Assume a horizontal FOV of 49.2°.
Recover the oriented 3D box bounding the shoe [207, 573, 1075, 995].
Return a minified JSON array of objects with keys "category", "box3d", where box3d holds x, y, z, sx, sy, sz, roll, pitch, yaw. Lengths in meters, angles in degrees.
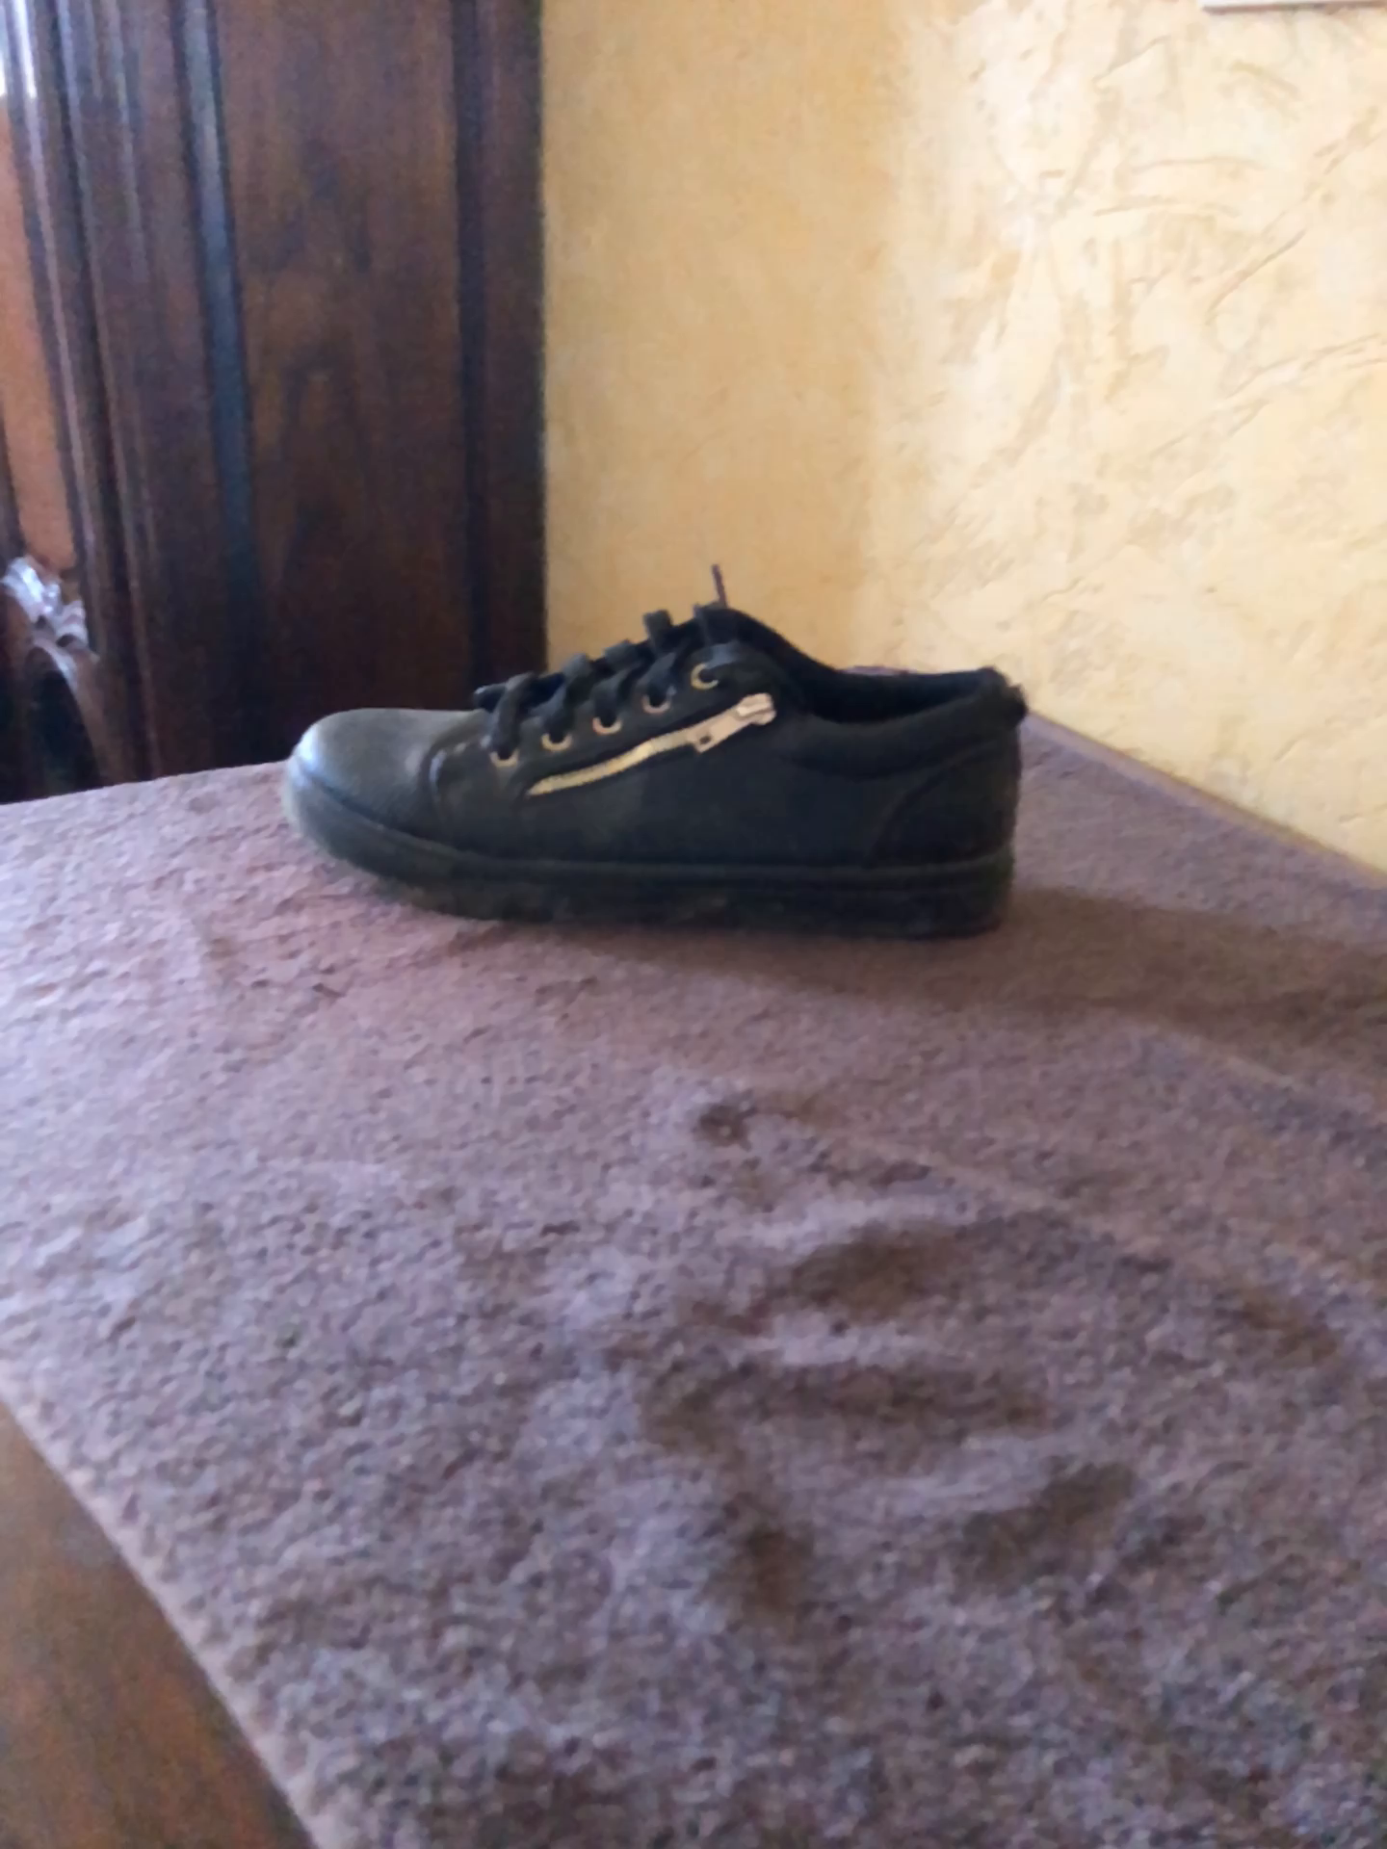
[{"category":"shoe","box3d":[-0.014,-0.055,0.522,0.270,0.090,0.101,7,26,9]}]
